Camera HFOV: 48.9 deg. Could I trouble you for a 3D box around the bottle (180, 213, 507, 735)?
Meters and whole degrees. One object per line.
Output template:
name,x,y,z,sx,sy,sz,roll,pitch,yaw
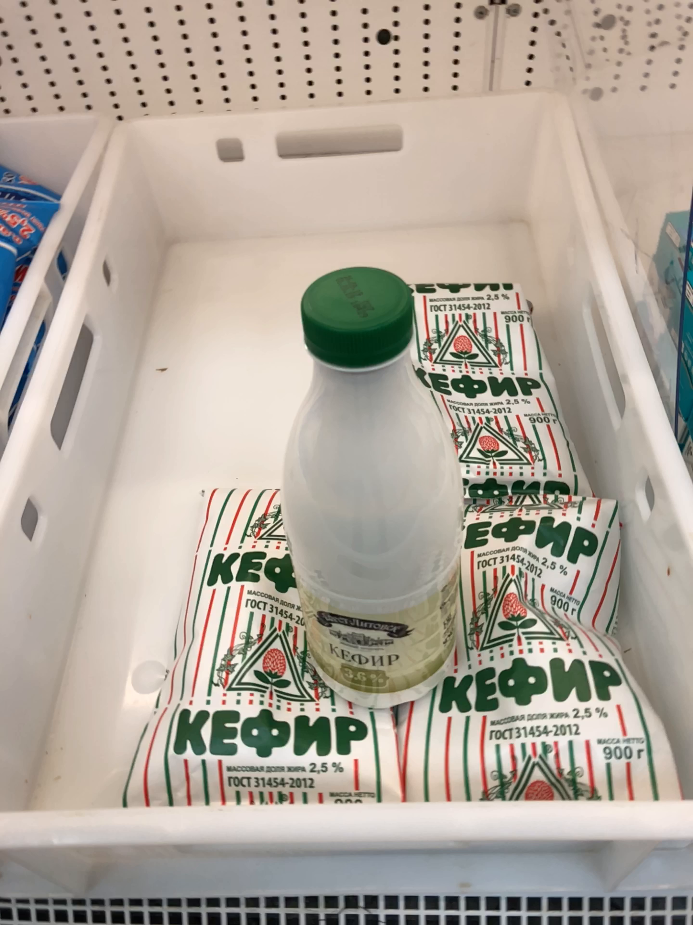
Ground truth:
bottle,0.012,0.029,0.363,0.090,0.269,0.090,-3,52,3
